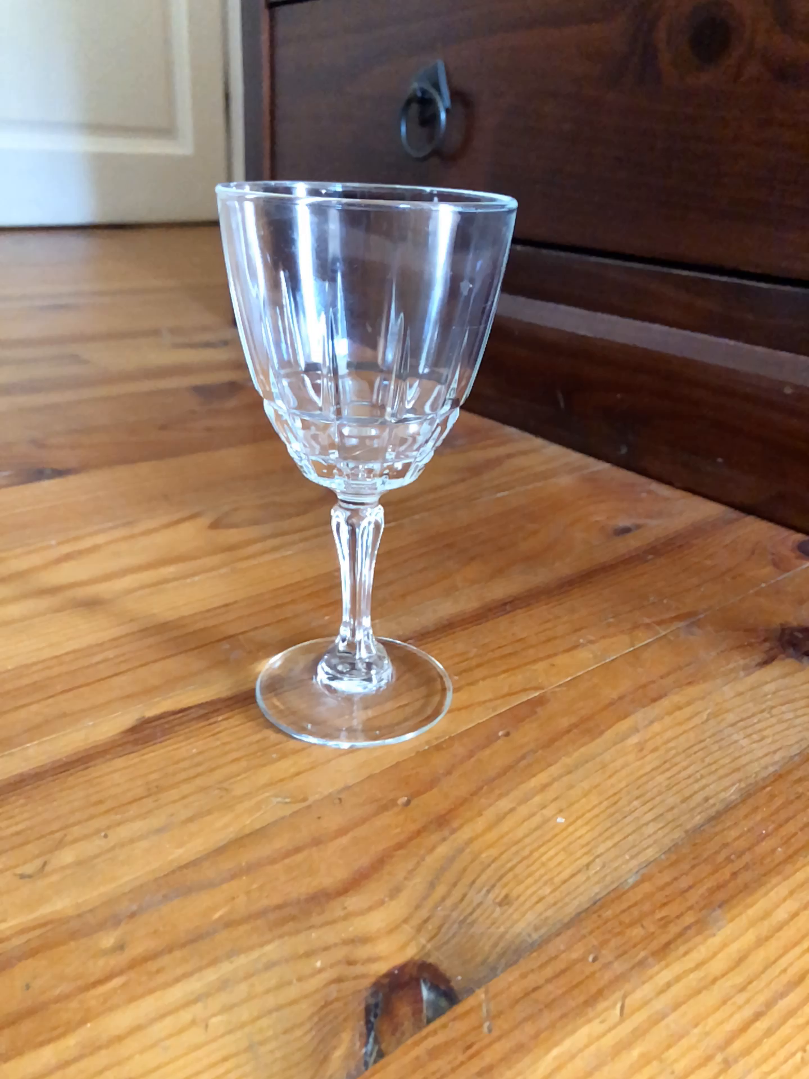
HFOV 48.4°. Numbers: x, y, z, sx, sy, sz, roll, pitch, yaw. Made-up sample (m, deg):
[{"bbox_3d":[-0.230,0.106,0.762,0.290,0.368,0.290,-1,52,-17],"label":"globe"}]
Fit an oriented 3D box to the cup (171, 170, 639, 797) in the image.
[{"bbox_3d":[-0.006,-0.023,0.252,0.084,0.141,0.085,3,24,-1],"label":"cup"}]
